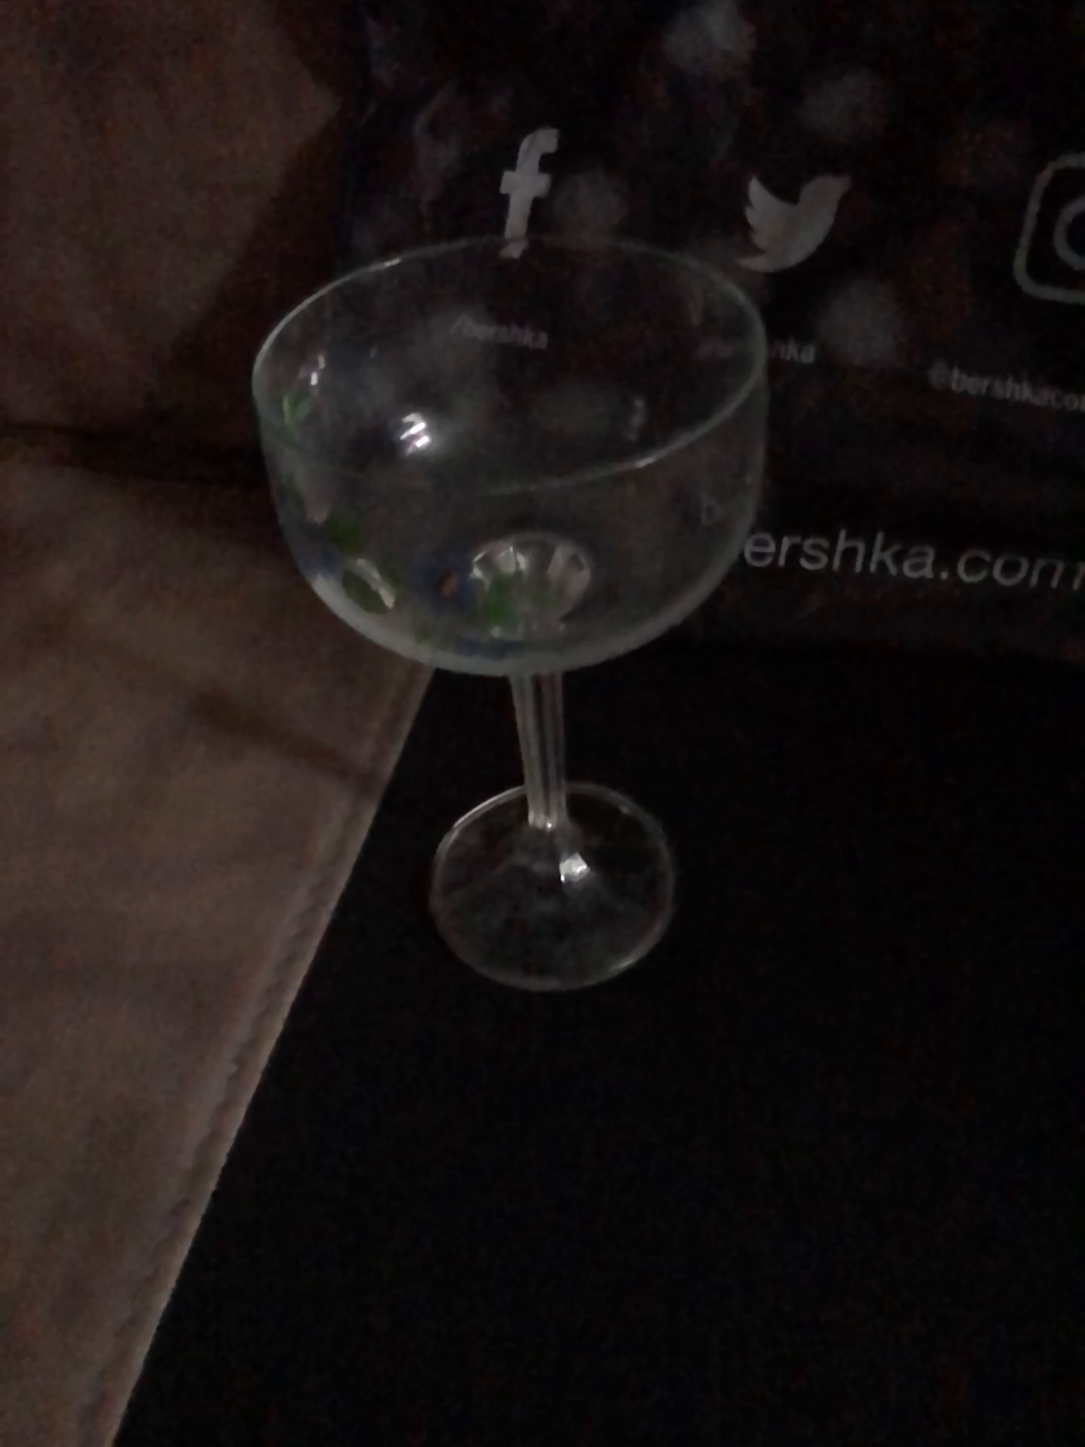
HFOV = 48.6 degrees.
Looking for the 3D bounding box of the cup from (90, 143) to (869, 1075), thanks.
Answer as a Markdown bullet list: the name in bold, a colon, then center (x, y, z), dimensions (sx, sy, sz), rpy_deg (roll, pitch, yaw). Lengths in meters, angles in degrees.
- **cup**: center (-0.008, -0.019, 0.252), dimensions (0.096, 0.147, 0.085), rpy_deg (34, 58, 29)
